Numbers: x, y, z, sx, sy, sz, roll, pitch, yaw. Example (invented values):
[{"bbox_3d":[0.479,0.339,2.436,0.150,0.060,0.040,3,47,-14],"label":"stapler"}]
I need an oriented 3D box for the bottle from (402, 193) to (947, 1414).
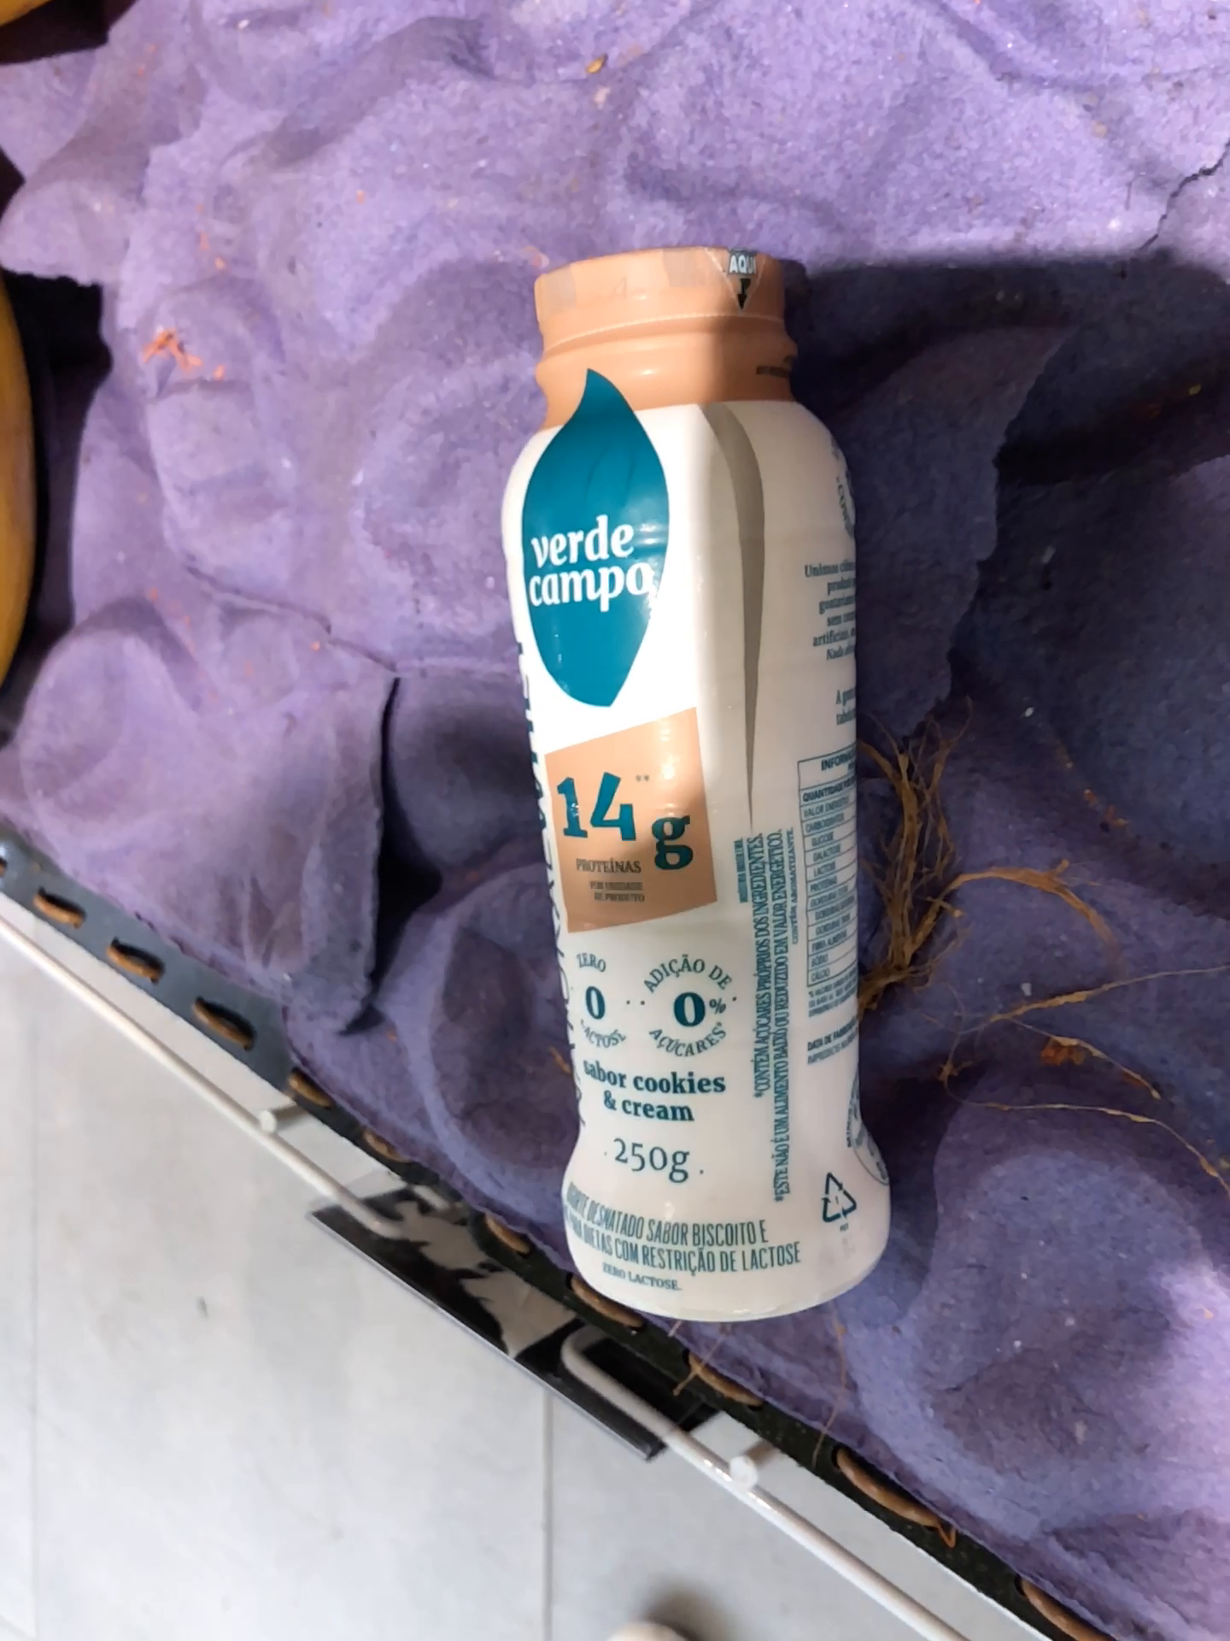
[{"bbox_3d":[0.012,0.000,0.210,0.060,0.040,0.160,0,100,30],"label":"bottle"}]
